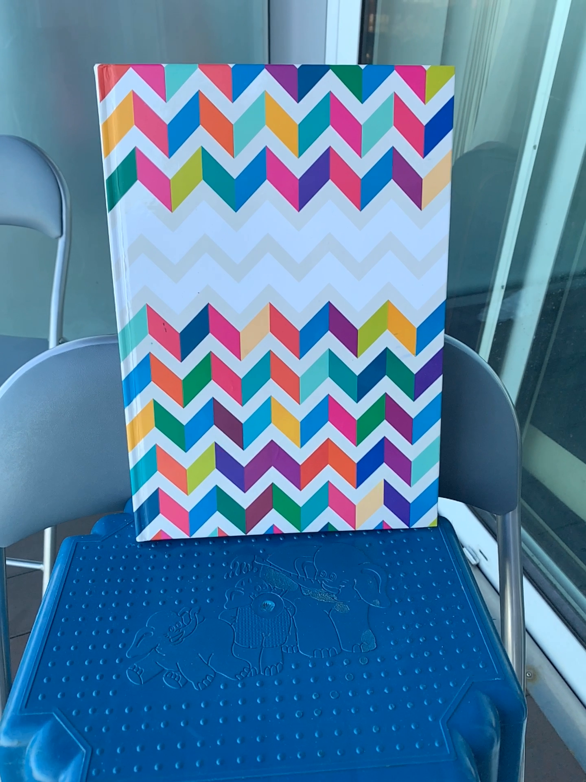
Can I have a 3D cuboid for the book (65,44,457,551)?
[{"bbox_3d":[-0.012,-0.048,0.370,0.211,0.289,0.030,-2,13,-4],"label":"book"}]
